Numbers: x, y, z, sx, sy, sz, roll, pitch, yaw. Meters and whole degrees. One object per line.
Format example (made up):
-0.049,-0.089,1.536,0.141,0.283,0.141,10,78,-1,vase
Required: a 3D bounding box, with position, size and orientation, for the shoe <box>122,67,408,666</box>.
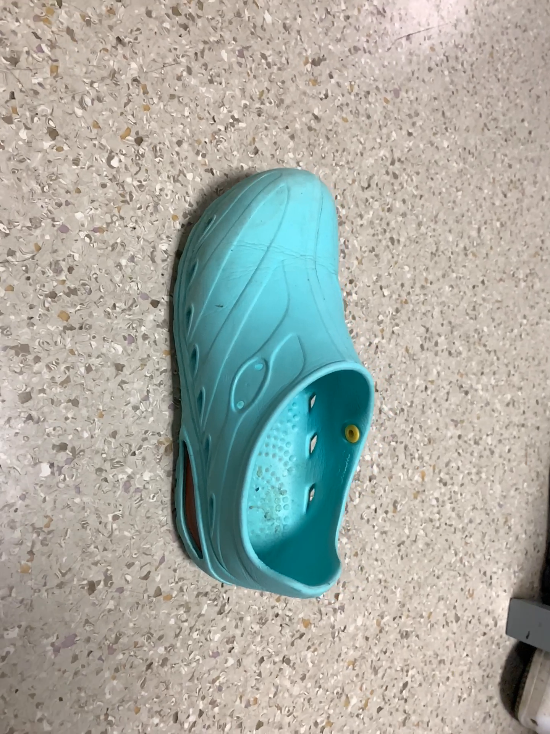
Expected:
-0.006,0.000,0.333,0.106,0.105,0.275,7,86,-38,shoe
